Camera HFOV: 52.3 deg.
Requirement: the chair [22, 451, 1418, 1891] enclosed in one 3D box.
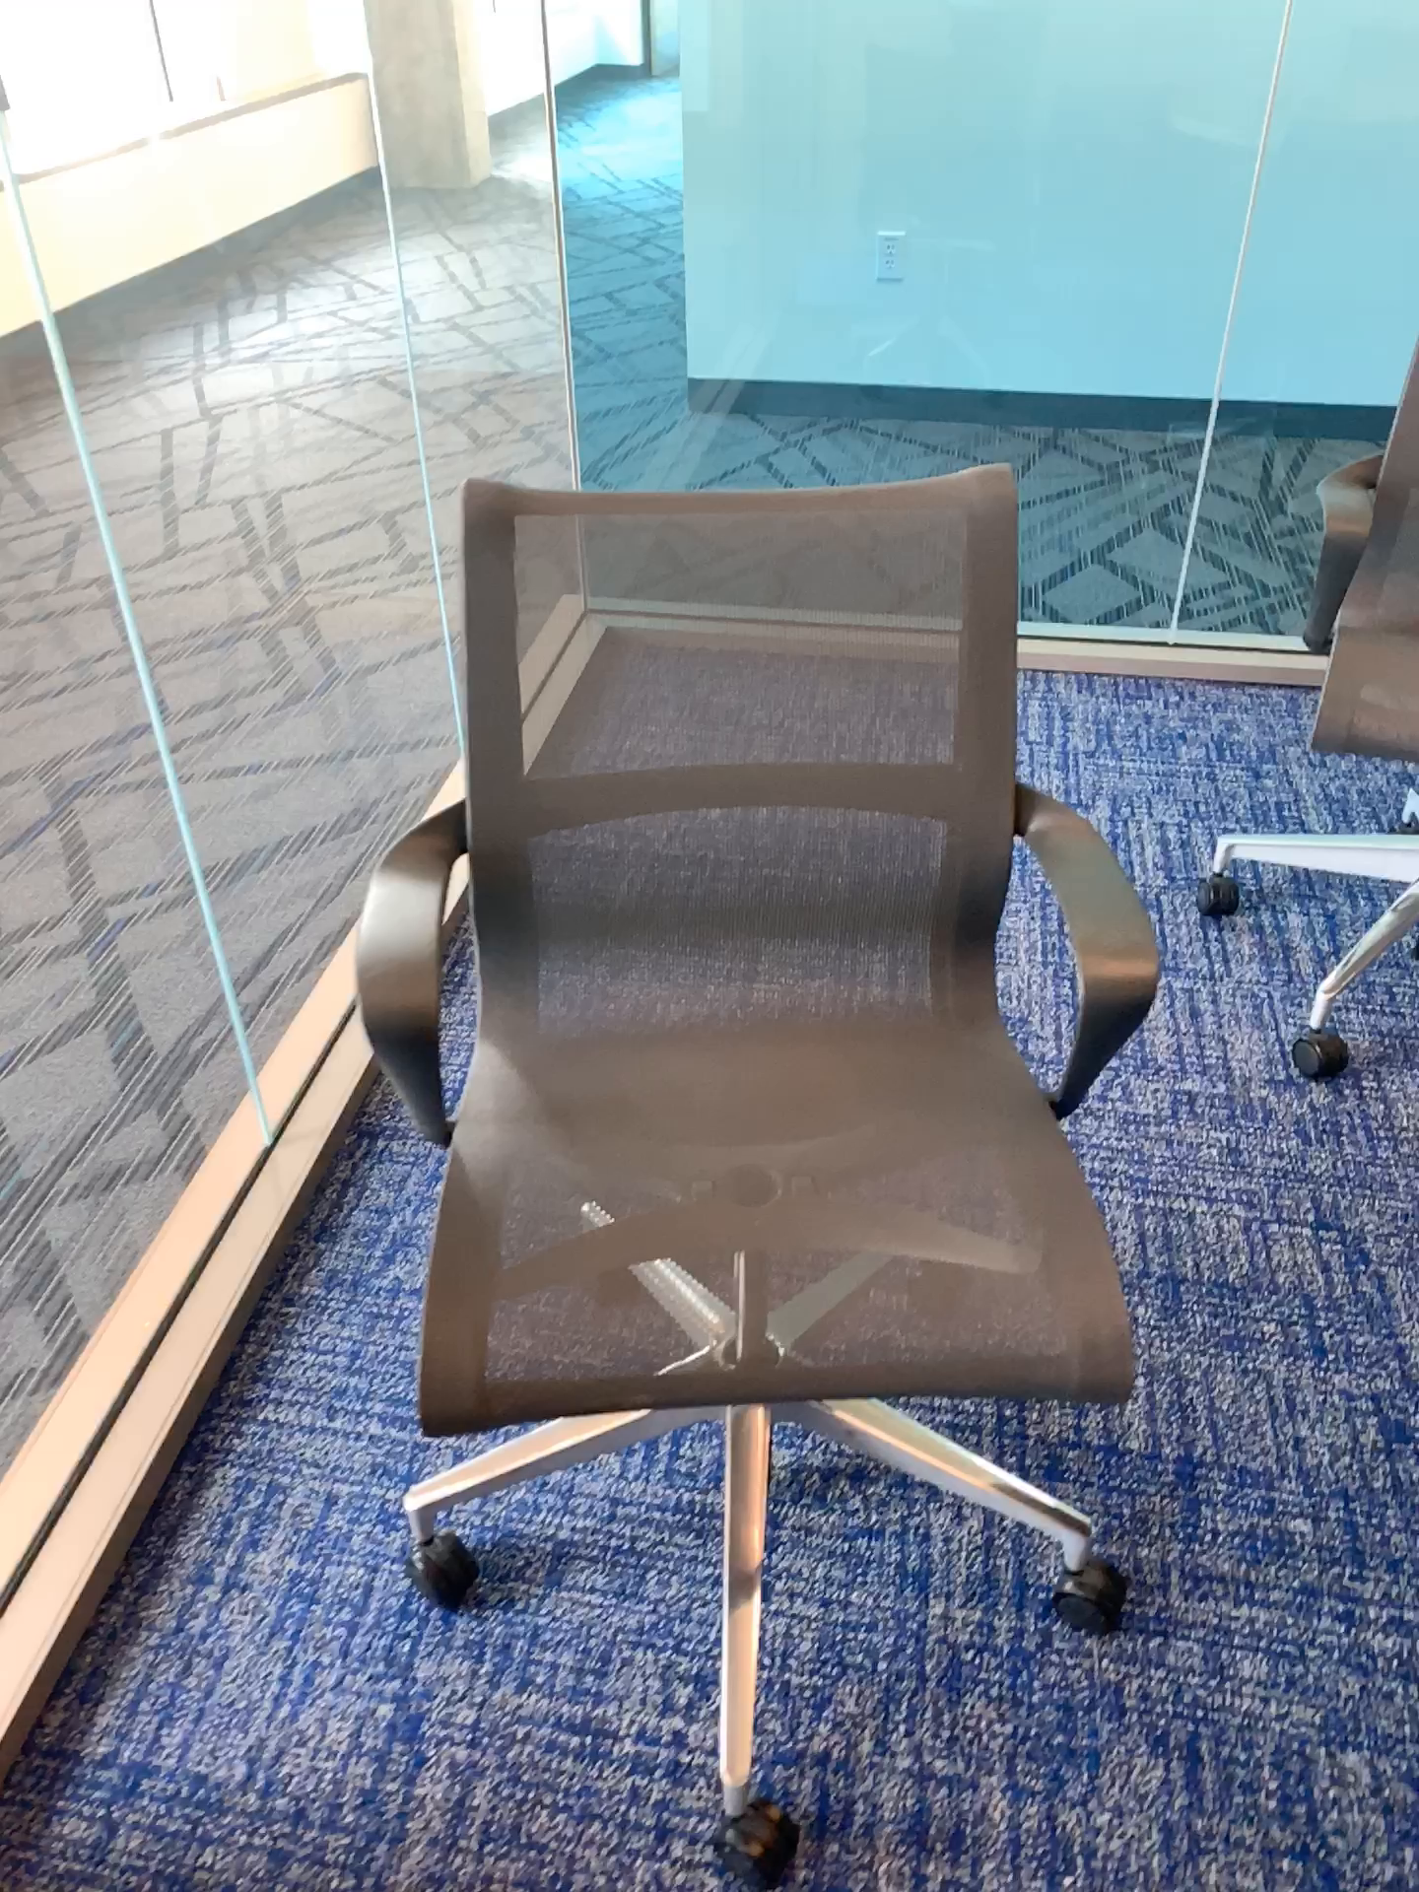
[{"bbox_3d":[0.056,0.141,1.036,0.660,0.773,0.646,-3,34,-3],"label":"chair"}]
